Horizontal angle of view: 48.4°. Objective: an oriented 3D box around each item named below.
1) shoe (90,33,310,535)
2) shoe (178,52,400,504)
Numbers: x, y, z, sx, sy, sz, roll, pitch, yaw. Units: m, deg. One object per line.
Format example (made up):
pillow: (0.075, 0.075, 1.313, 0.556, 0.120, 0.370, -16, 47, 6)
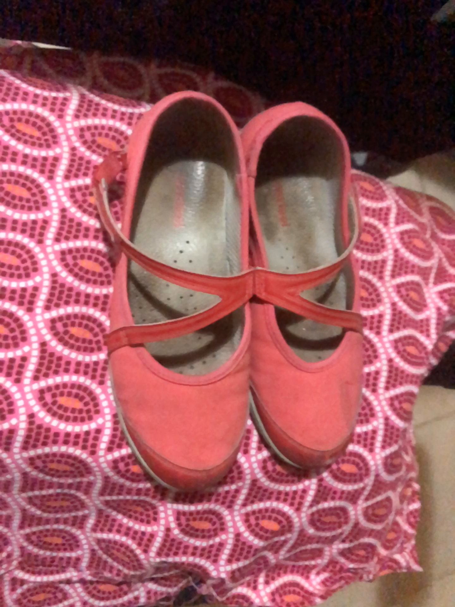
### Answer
shoe: (-0.028, -0.015, 0.354, 0.110, 0.100, 0.290, -3, 85, -18)
shoe: (0.039, -0.021, 0.397, 0.110, 0.100, 0.300, -4, 86, -18)
